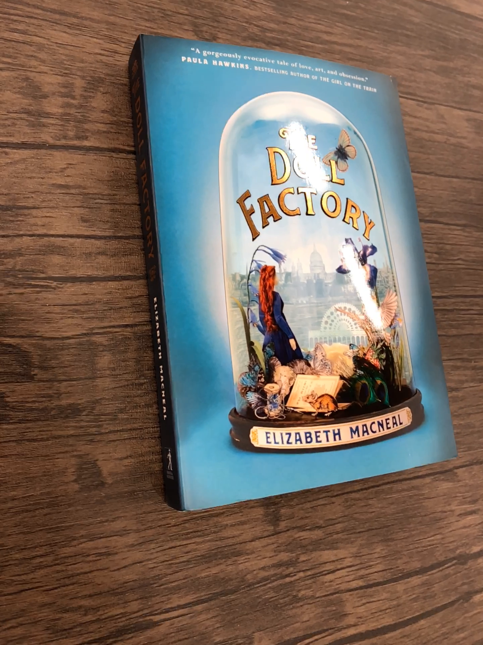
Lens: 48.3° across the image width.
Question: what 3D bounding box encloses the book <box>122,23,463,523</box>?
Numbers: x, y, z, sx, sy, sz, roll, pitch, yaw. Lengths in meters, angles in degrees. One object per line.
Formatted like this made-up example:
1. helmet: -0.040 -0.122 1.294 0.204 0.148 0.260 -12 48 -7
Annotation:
1. book: 0.029 -0.029 0.295 0.160 0.040 0.230 -3 81 -27
